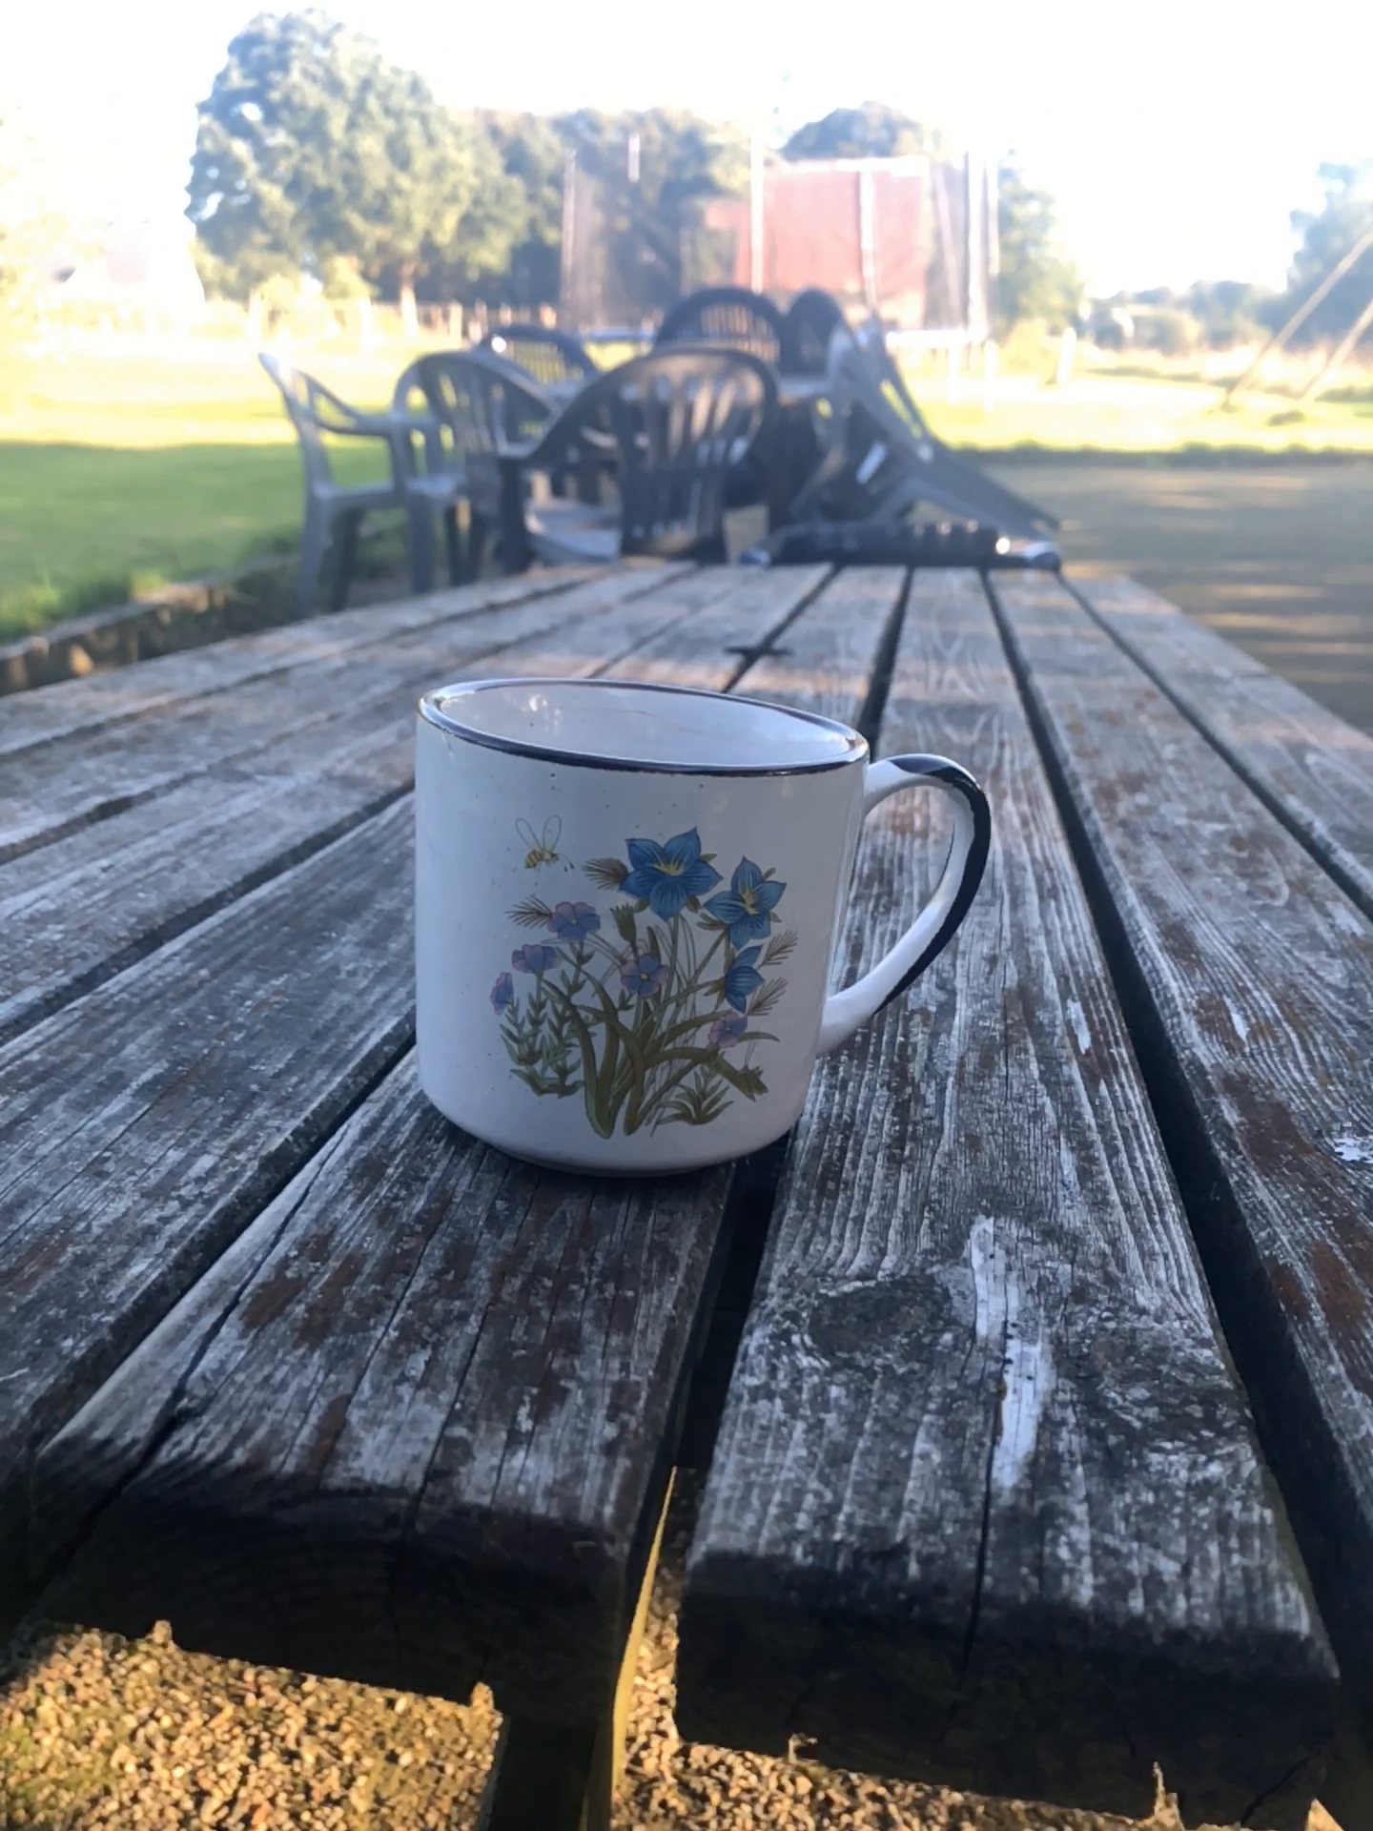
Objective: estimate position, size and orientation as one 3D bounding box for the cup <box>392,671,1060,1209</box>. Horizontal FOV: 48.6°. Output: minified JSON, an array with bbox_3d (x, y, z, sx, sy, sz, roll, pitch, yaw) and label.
[{"bbox_3d":[-0.001,-0.001,0.296,0.108,0.078,0.087,-1,16,-13],"label":"cup"}]
